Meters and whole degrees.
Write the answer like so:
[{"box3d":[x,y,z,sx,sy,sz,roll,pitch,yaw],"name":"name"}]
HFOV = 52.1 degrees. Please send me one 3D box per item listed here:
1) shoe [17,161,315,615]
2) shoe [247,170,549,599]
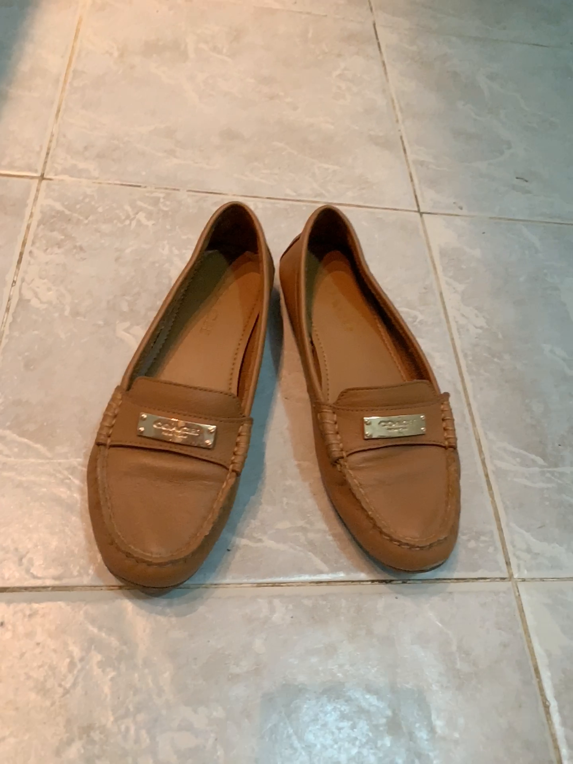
[{"box3d":[-0.050,-0.011,0.331,0.083,0.071,0.244,14,57,-1],"name":"shoe"},{"box3d":[0.046,-0.013,0.346,0.085,0.071,0.243,-7,60,-14],"name":"shoe"}]
